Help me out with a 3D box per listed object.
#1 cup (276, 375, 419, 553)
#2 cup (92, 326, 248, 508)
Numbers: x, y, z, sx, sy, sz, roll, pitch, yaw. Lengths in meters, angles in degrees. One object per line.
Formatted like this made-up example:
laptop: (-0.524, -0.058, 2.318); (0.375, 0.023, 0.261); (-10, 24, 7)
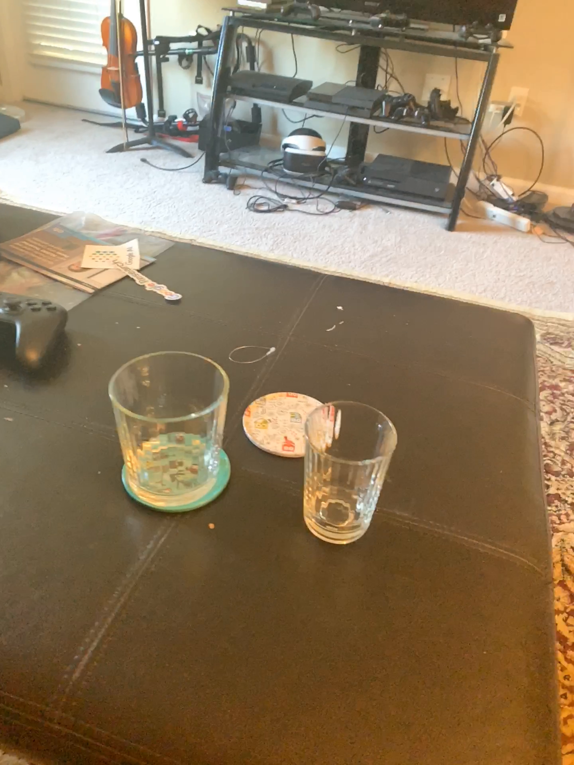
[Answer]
cup: (0.041, 0.057, 0.426); (0.070, 0.089, 0.060); (-27, 47, -37)
cup: (-0.089, 0.024, 0.457); (0.080, 0.089, 0.080); (4, 36, -3)
